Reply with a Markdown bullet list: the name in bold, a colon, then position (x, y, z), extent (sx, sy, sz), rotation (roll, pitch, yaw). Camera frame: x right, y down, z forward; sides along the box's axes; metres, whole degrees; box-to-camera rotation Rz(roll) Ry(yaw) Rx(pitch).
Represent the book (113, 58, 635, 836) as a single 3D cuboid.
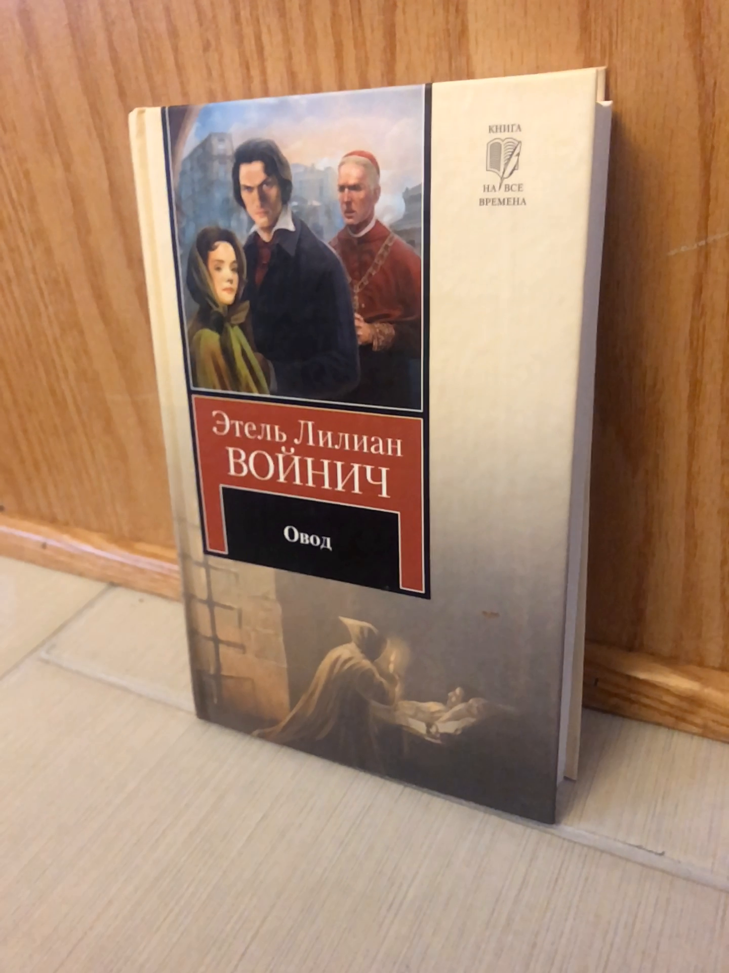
- **book**: position (0.000, -0.008, 0.248), extent (0.139, 0.203, 0.030), rotation (8, 21, 26)
